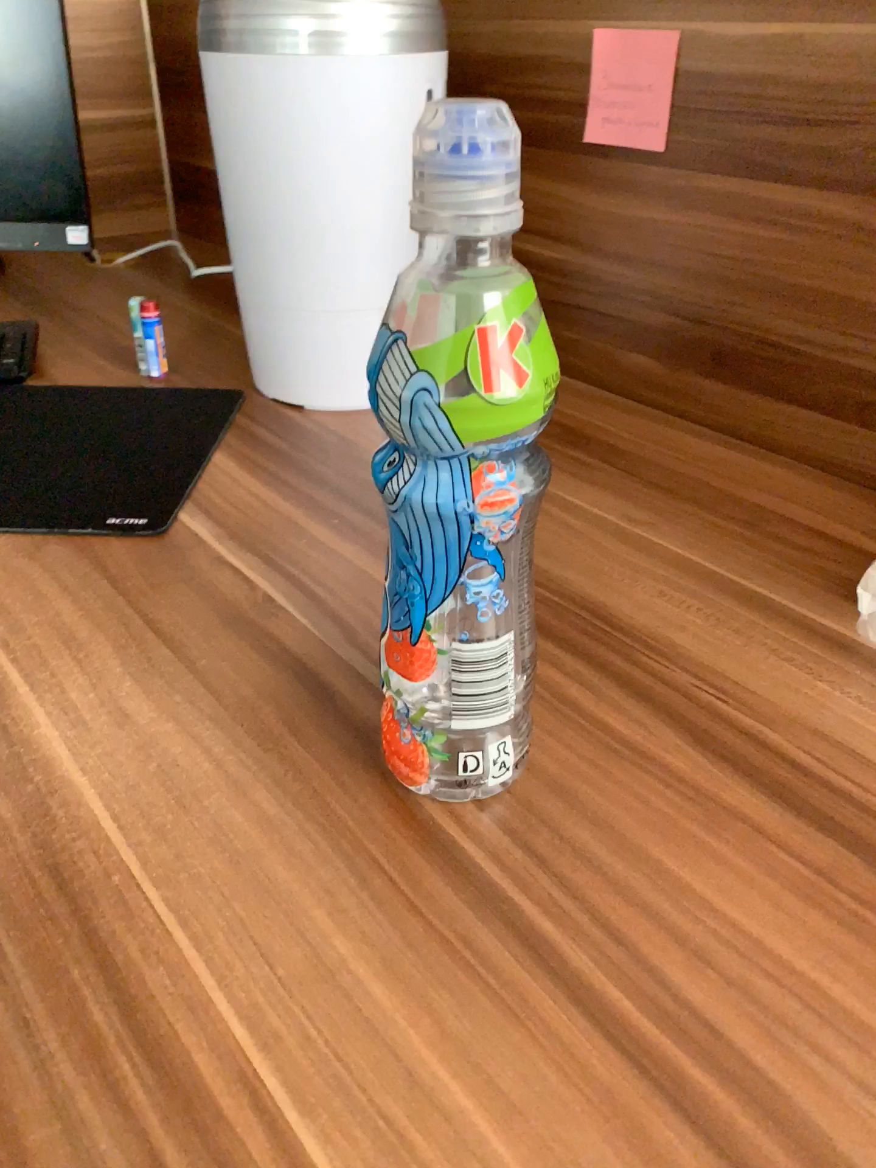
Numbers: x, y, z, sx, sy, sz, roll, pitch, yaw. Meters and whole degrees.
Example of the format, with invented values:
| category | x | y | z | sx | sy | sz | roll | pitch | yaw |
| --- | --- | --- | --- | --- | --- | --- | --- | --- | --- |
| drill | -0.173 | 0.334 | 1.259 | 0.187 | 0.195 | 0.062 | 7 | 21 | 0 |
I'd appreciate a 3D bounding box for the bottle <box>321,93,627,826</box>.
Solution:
| category | x | y | z | sx | sy | sz | roll | pitch | yaw |
| --- | --- | --- | --- | --- | --- | --- | --- | --- | --- |
| bottle | 0.006 | -0.032 | 0.313 | 0.070 | 0.239 | 0.070 | 0 | 32 | 0 |
